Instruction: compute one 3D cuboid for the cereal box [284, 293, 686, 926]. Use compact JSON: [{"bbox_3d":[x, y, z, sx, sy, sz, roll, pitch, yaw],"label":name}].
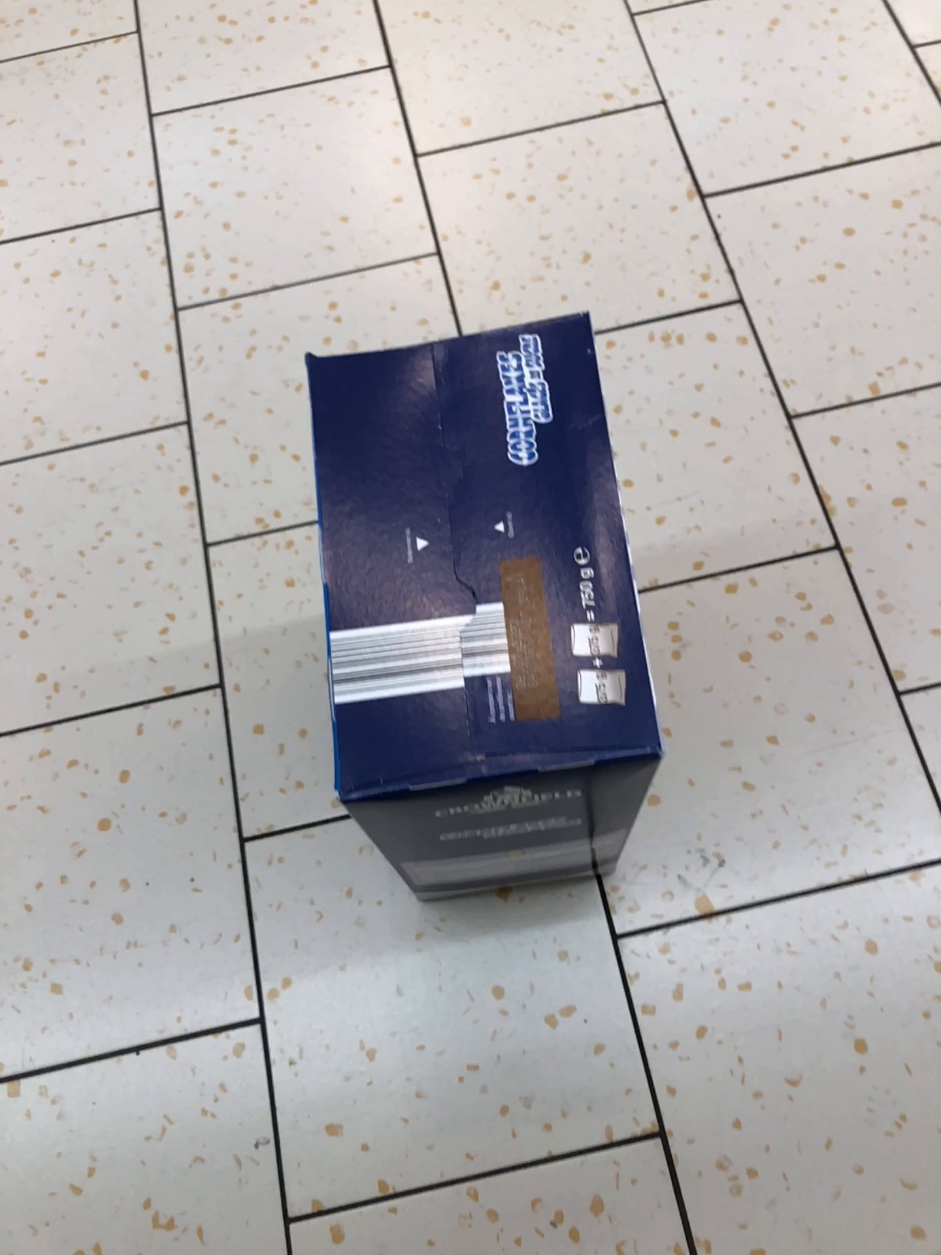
[{"bbox_3d":[0.007,0.015,0.509,0.130,0.259,0.211,-7,67,2],"label":"cereal box"}]
